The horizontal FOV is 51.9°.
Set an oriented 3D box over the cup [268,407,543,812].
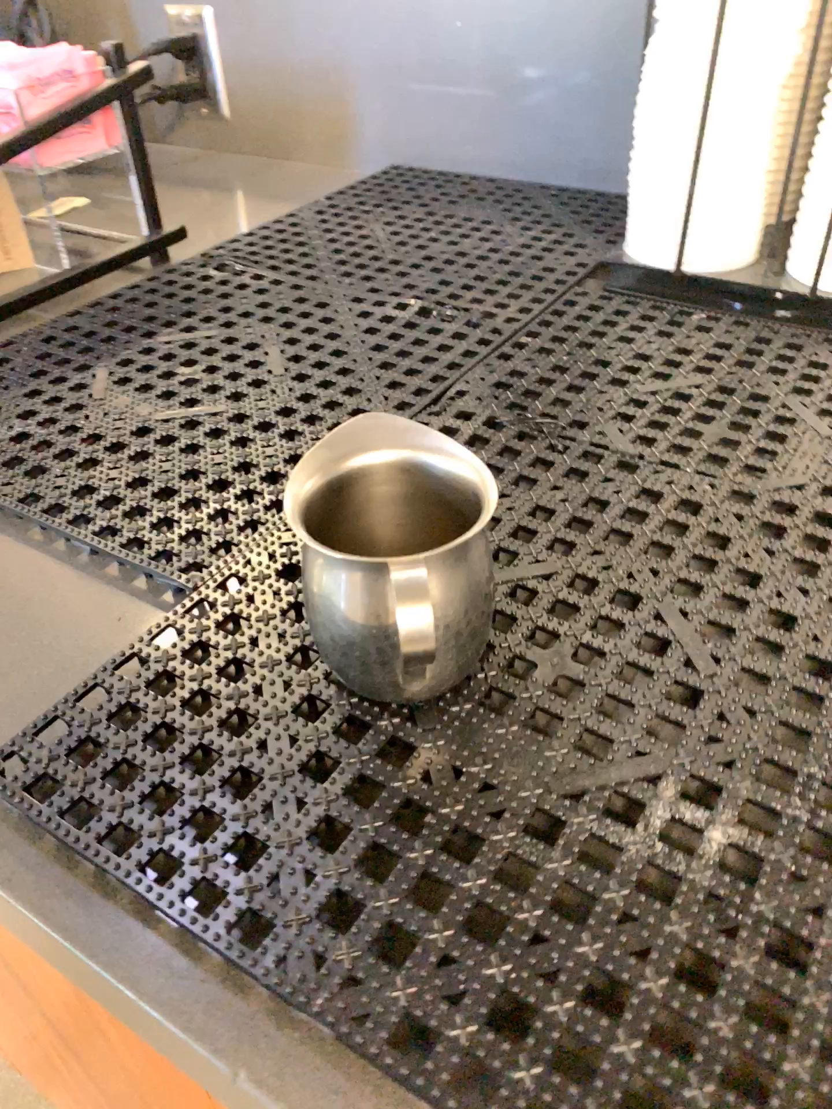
[{"bbox_3d":[-0.008,0.012,0.280,0.070,0.070,0.111,-6,38,-4],"label":"cup"}]
